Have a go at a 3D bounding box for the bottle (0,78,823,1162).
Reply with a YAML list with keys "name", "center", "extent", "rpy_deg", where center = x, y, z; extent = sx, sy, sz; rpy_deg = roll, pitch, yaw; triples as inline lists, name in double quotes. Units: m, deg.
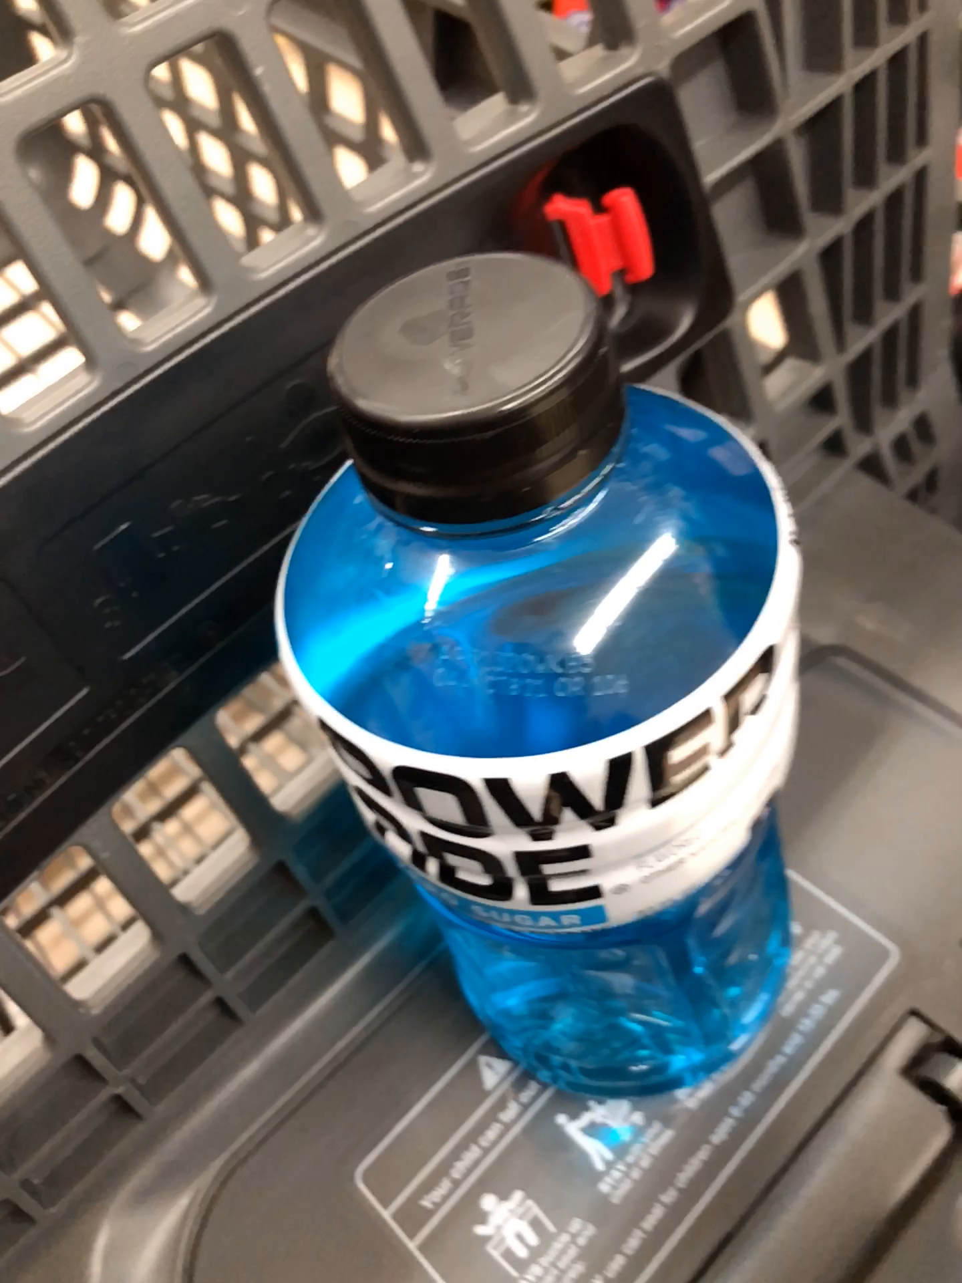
- name: "bottle"
  center: [0.018, 0.023, 0.232]
  extent: [0.100, 0.220, 0.100]
  rpy_deg: [-9, 49, 11]
